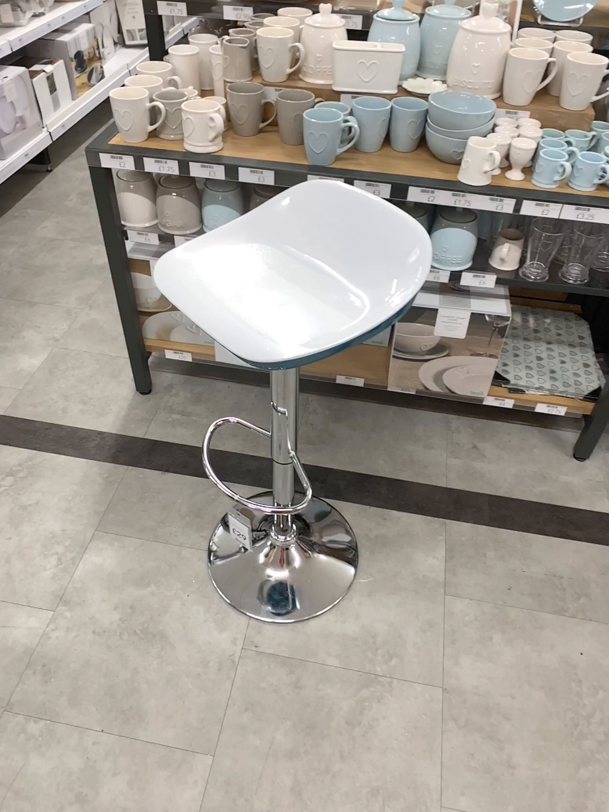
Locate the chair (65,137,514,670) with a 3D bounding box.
[{"bbox_3d":[-0.039,0.001,1.214,0.471,0.775,0.505,-32,53,-31],"label":"chair"}]
